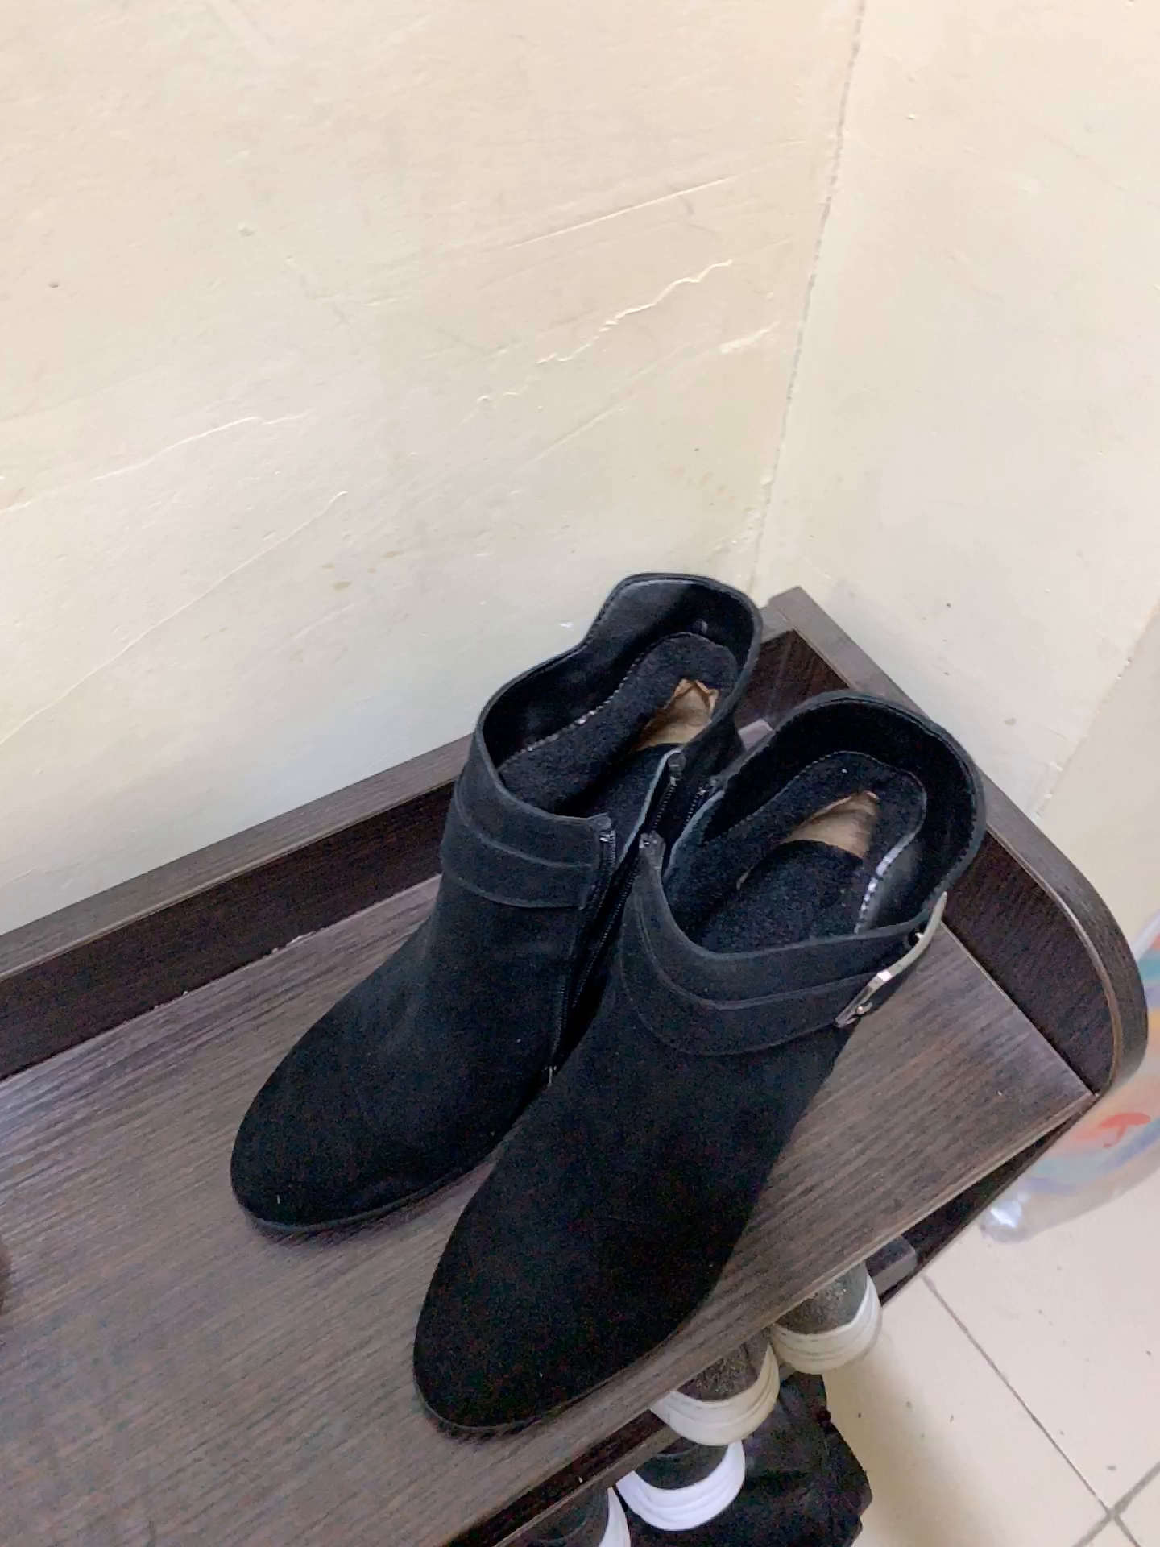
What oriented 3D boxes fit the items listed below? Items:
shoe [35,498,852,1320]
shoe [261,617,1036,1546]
[{"bbox_3d":[-0.032,0.049,0.427,0.241,0.189,0.088,-36,62,-27],"label":"shoe"},{"bbox_3d":[0.030,0.102,0.394,0.088,0.189,0.241,32,56,20],"label":"shoe"}]
